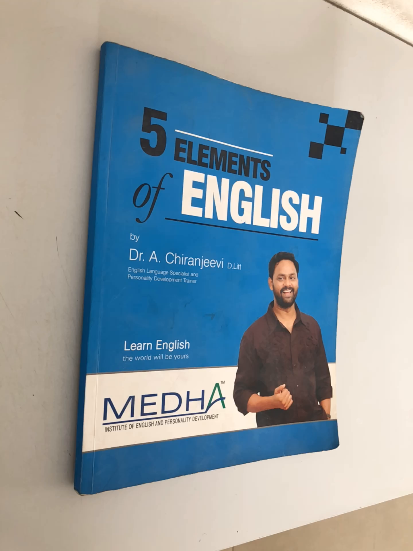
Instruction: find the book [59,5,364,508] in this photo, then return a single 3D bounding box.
[{"bbox_3d":[0.017,-0.006,0.256,0.181,0.020,0.220,3,88,-32],"label":"book"}]
